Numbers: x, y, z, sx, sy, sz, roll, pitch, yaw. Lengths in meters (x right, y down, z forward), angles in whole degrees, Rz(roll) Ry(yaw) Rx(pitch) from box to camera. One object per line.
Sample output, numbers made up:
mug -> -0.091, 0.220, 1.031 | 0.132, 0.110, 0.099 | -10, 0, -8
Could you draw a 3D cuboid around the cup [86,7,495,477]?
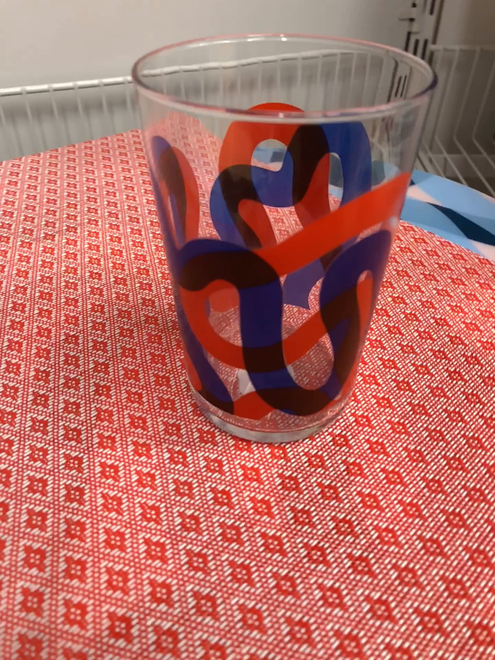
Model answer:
cup -> 0.008, -0.034, 0.194 | 0.090, 0.120, 0.090 | 0, 39, 0
